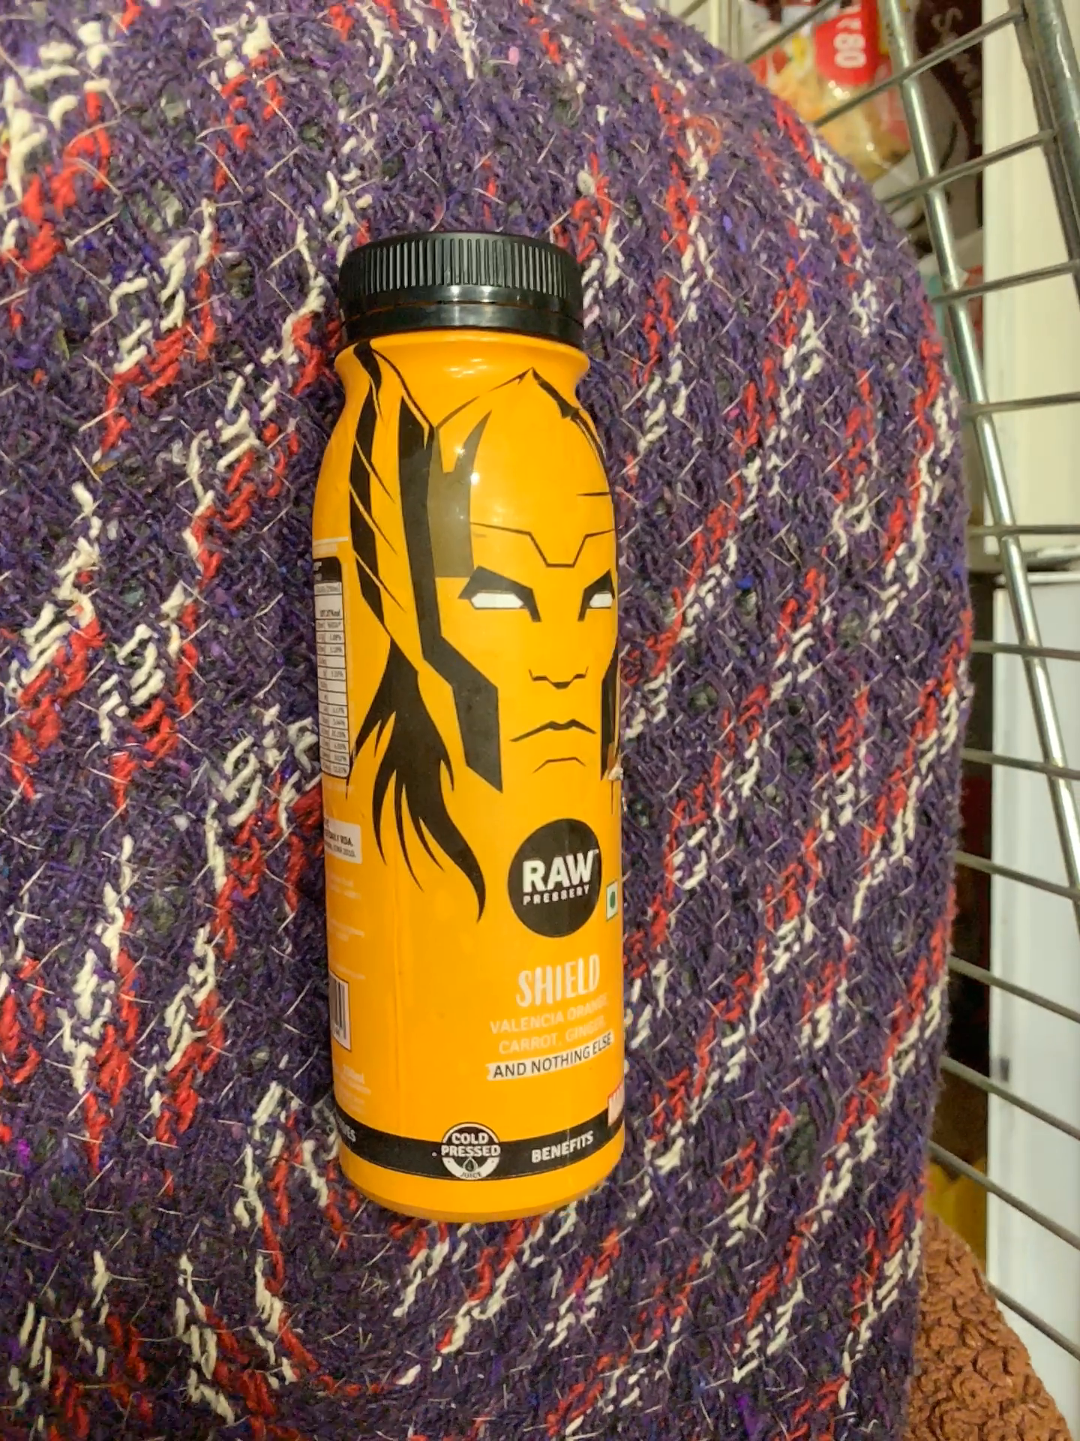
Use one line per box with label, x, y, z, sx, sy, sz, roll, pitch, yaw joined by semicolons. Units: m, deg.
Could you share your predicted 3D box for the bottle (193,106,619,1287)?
bottle;-0.023;-0.003;0.187;0.050;0.050;0.160;-4;95;-29
